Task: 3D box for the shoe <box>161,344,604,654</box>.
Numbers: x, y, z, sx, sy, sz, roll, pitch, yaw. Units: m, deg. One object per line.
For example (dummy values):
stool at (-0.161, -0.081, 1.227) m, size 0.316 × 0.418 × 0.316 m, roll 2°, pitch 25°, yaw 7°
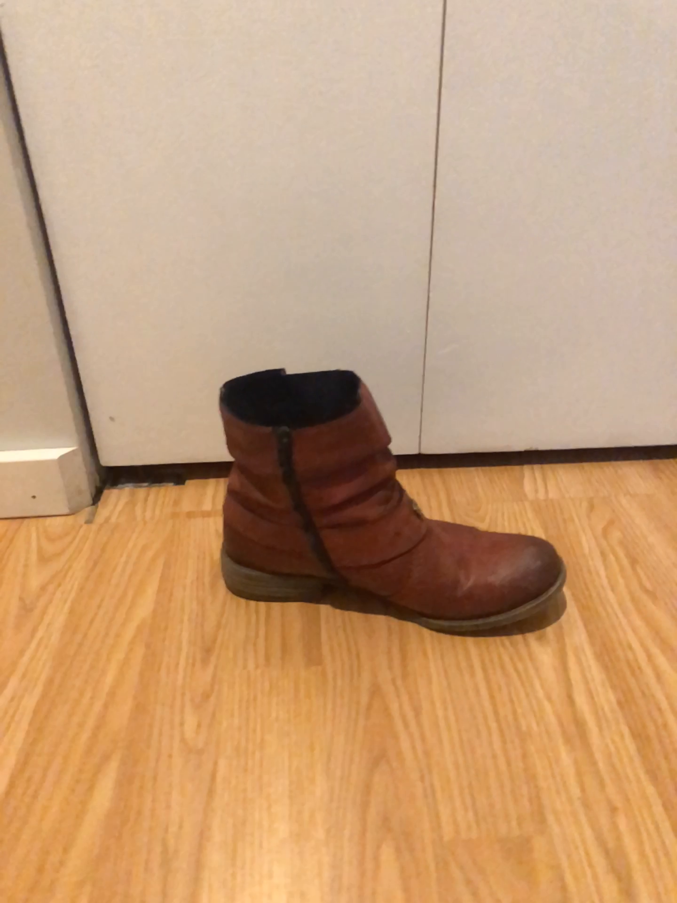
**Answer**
shoe at (0.030, 0.031, 0.539) m, size 0.270 × 0.169 × 0.100 m, roll 5°, pitch 33°, yaw 10°
